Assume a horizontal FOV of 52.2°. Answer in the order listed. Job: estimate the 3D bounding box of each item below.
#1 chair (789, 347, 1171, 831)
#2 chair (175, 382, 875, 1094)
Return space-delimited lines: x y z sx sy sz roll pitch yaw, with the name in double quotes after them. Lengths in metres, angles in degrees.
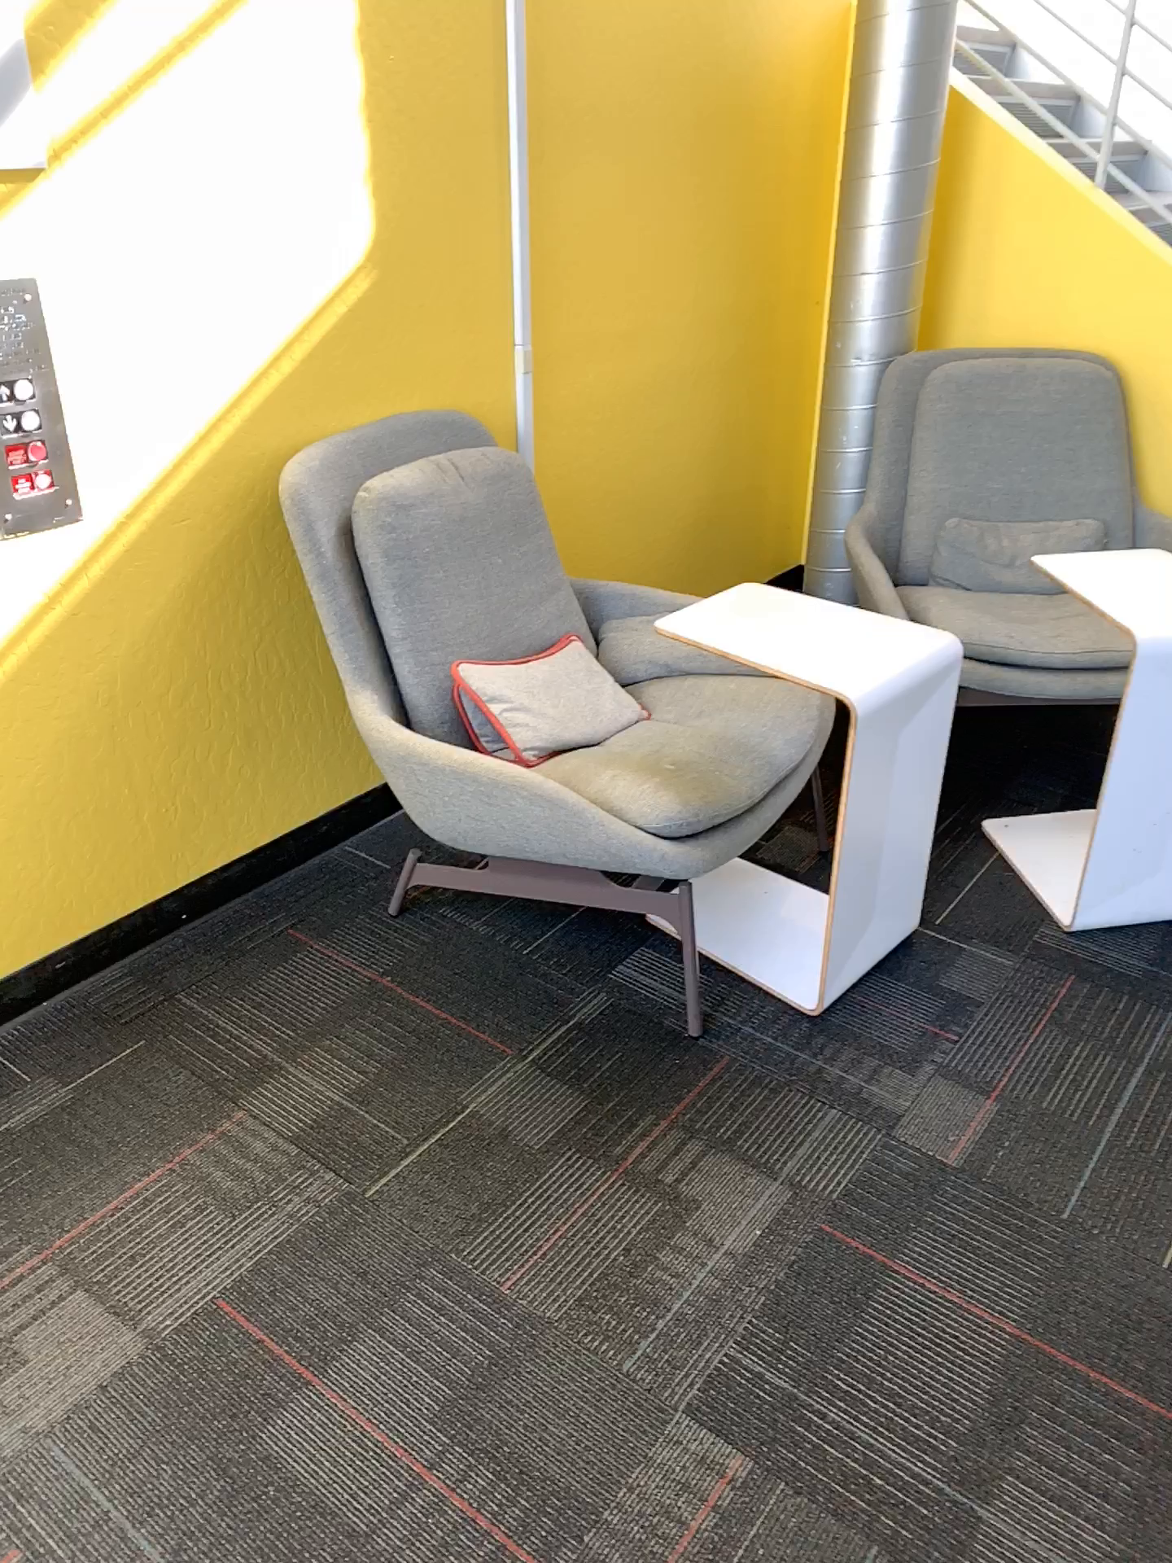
1.093 -0.542 3.119 0.890 1.015 0.845 -3 25 -4 "chair"
-0.049 -0.170 2.183 0.872 0.925 0.803 12 30 27 "chair"
